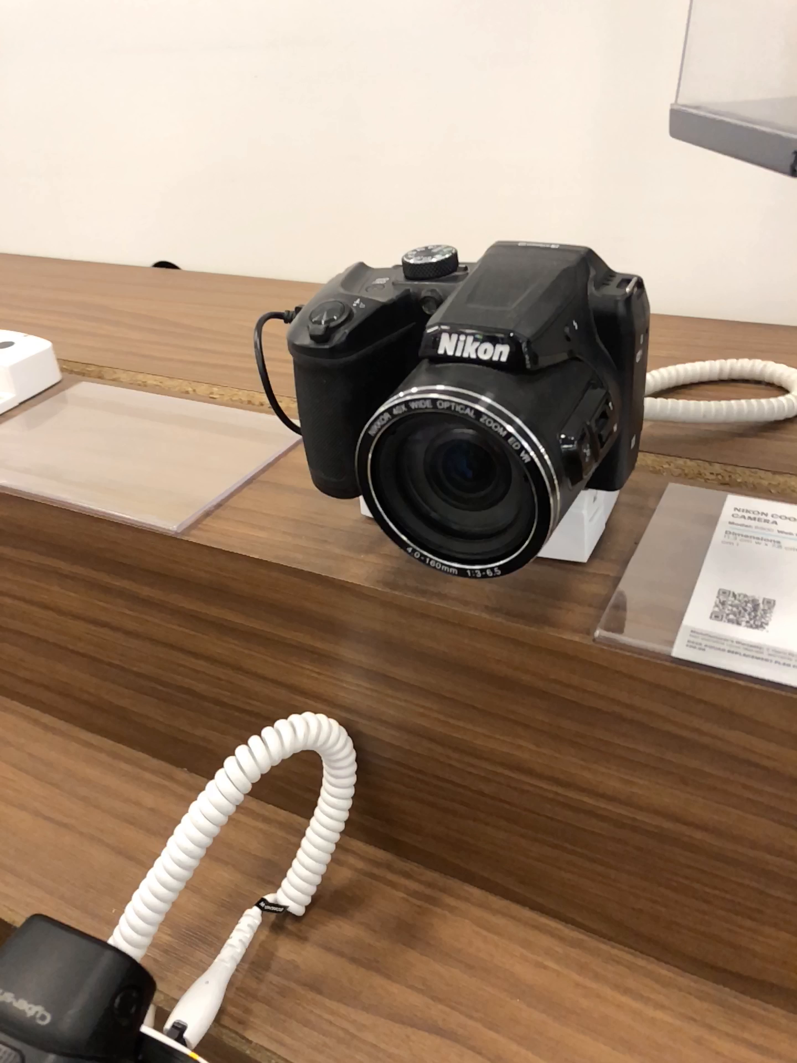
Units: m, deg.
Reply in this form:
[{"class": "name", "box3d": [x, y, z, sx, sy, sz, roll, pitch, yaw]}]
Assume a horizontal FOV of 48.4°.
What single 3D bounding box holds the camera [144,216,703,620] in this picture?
[{"class": "camera", "box3d": [0.017, -0.051, 0.293, 0.130, 0.070, 0.130, 12, 35, 24]}]
